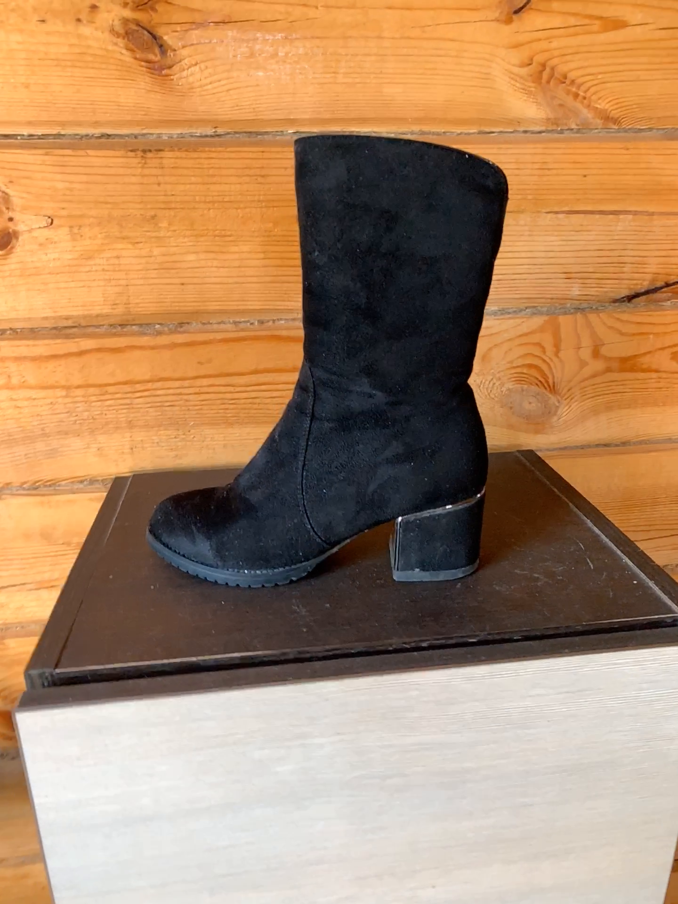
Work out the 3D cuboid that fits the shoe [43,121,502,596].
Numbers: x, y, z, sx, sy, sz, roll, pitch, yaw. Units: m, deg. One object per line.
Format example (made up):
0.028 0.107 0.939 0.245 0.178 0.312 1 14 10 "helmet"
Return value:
-0.032 -0.055 0.441 0.232 0.268 0.101 -1 19 0 "shoe"
